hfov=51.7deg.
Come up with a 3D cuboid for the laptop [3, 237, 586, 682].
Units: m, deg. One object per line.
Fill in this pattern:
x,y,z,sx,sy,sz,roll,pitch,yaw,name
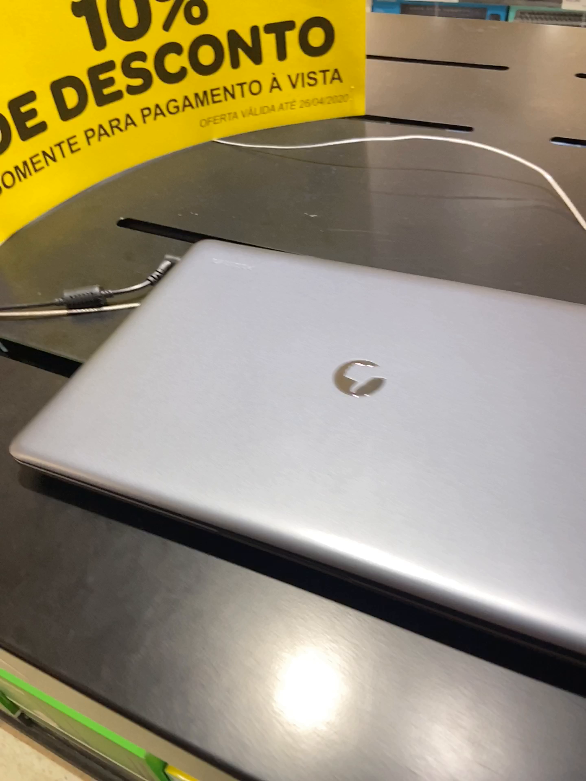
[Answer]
0.037,-0.005,0.339,0.329,0.001,0.213,14,49,19,laptop
